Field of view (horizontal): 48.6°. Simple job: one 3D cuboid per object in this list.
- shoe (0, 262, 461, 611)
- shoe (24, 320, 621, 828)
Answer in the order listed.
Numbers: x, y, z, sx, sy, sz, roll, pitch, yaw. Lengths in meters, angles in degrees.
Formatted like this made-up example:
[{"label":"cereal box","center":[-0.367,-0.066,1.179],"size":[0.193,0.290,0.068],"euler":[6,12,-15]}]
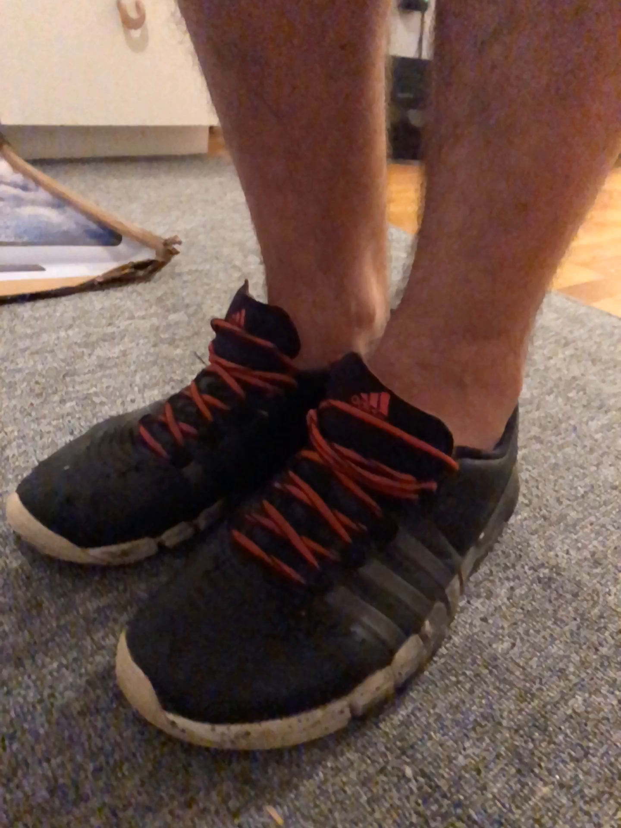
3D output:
[{"label":"shoe","center":[-0.055,-0.012,0.440],"size":[0.301,0.099,0.121],"euler":[-19,39,-38]},{"label":"shoe","center":[0.035,0.049,0.370],"size":[0.130,0.089,0.322],"euler":[28,36,31]}]
